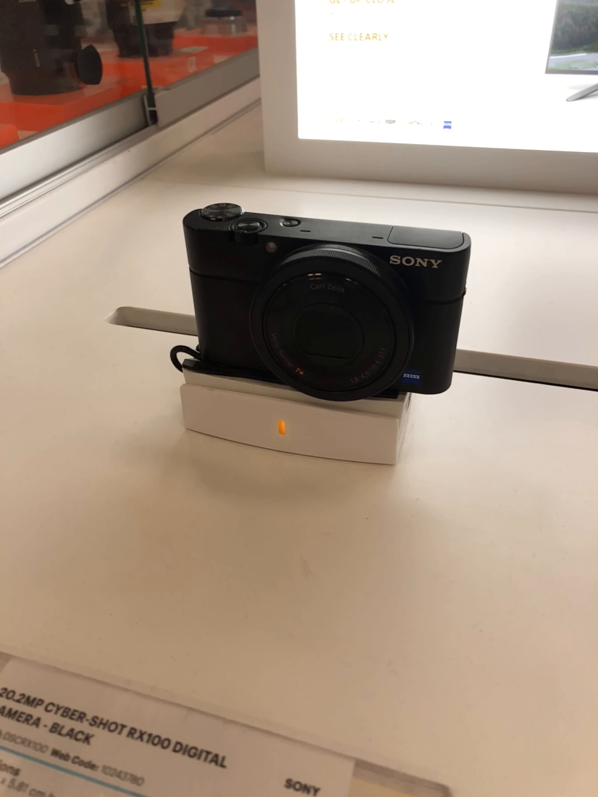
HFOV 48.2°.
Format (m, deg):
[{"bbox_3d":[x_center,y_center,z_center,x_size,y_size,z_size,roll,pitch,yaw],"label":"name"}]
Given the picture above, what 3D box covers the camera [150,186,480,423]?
[{"bbox_3d":[0.006,-0.036,0.251,0.110,0.070,0.030,9,36,15],"label":"camera"}]
